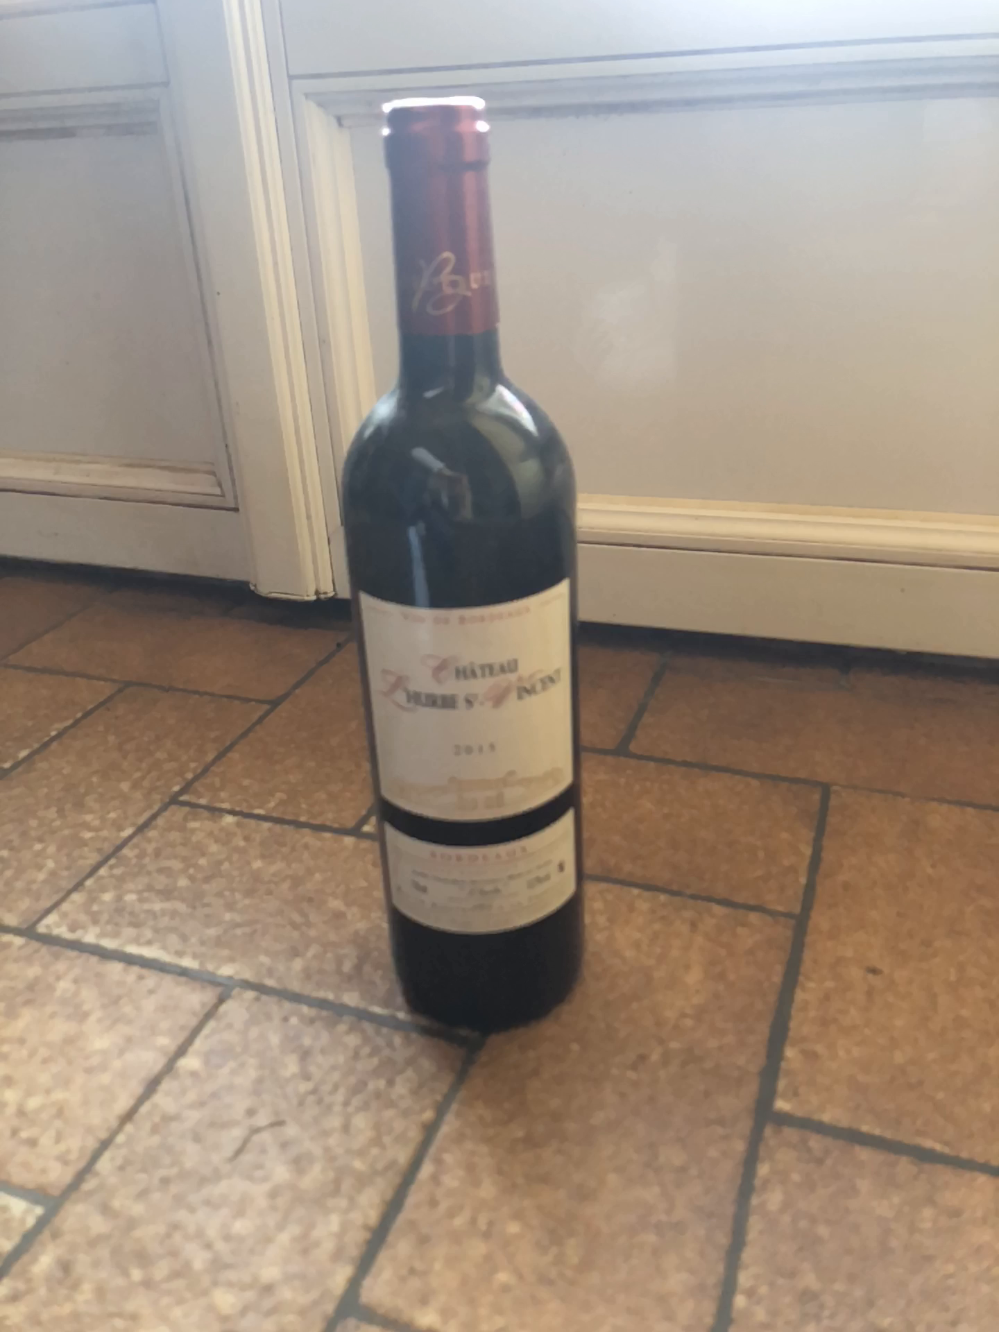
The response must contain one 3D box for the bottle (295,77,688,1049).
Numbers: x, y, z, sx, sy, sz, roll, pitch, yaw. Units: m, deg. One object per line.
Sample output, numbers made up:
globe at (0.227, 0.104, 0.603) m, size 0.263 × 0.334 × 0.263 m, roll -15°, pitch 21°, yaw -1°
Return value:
bottle at (0.001, -0.023, 0.352) m, size 0.090 × 0.288 × 0.090 m, roll -2°, pitch 26°, yaw 1°
